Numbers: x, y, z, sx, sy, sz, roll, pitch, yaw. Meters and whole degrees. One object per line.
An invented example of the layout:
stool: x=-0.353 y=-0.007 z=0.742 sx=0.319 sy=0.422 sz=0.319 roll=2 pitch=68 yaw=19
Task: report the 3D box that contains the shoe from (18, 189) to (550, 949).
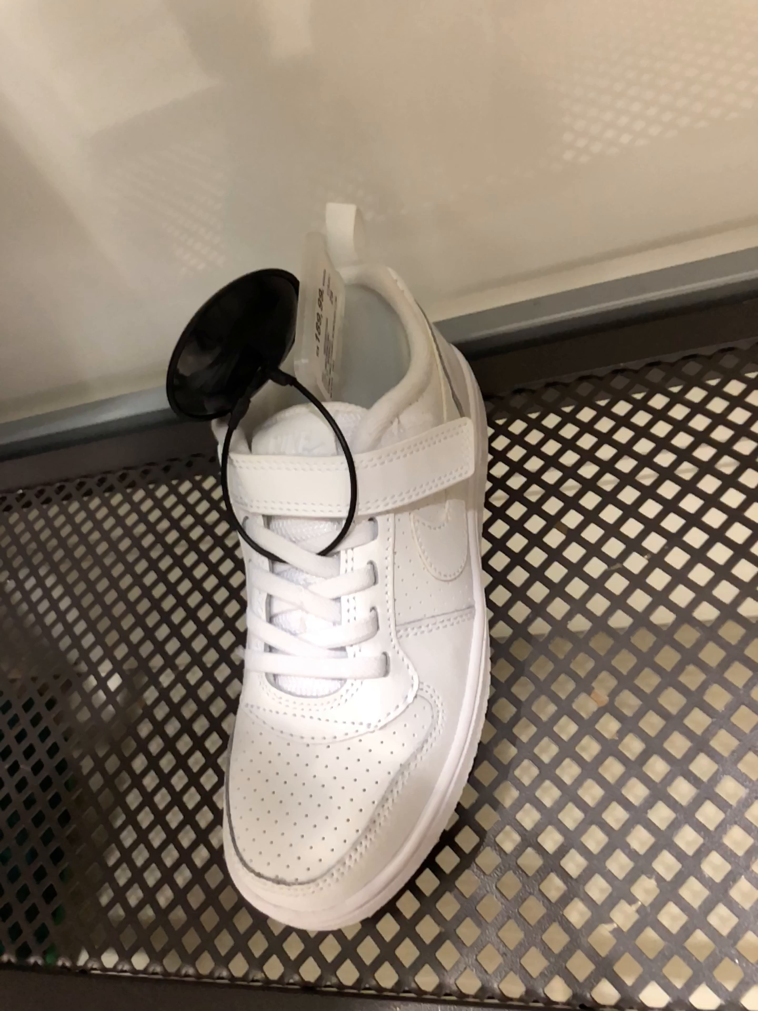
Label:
shoe: x=-0.009 y=0.015 z=0.267 sx=0.080 sy=0.099 sz=0.201 roll=-1 pitch=58 yaw=26
